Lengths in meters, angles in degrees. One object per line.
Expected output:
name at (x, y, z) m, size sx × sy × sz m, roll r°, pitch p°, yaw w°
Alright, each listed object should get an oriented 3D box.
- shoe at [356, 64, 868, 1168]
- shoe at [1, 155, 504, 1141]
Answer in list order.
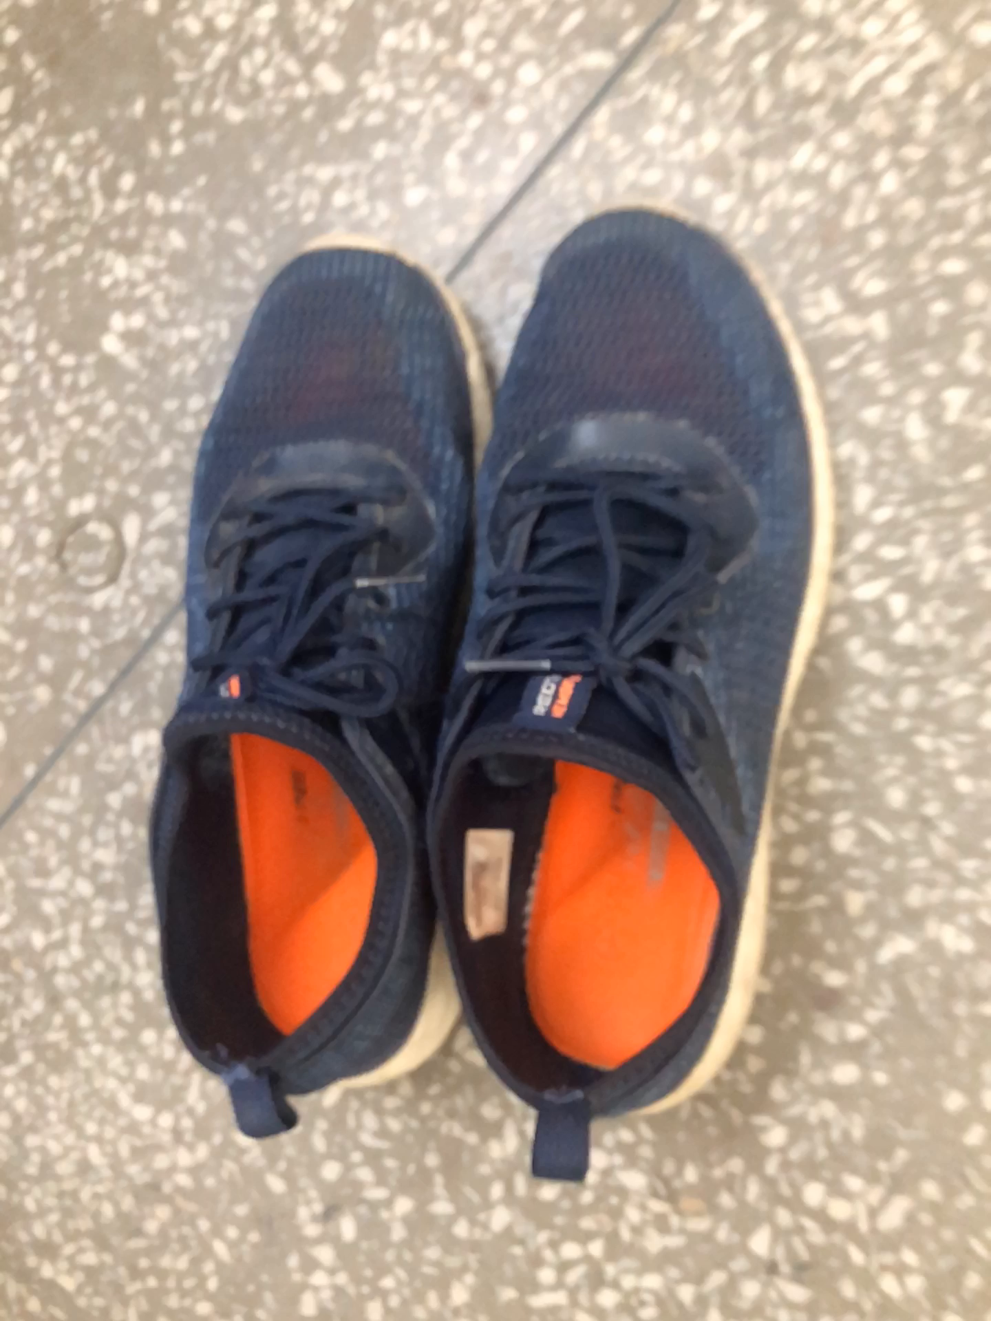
shoe at (0.037, -0.010, 0.317) m, size 0.123 × 0.100 × 0.249 m, roll 0°, pitch 90°, yaw 15°
shoe at (-0.068, -0.002, 0.346) m, size 0.113 × 0.100 × 0.249 m, roll -2°, pitch 89°, yaw 15°
